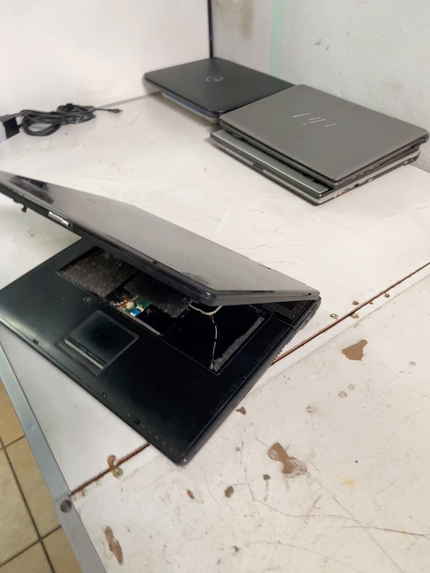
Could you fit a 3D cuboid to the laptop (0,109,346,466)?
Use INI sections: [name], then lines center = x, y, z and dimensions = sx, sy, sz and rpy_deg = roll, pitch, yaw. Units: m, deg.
[laptop]
center = -0.082, -0.040, 0.509
dimensions = 0.349, 0.164, 0.261
rpy_deg = 27, 51, 29
